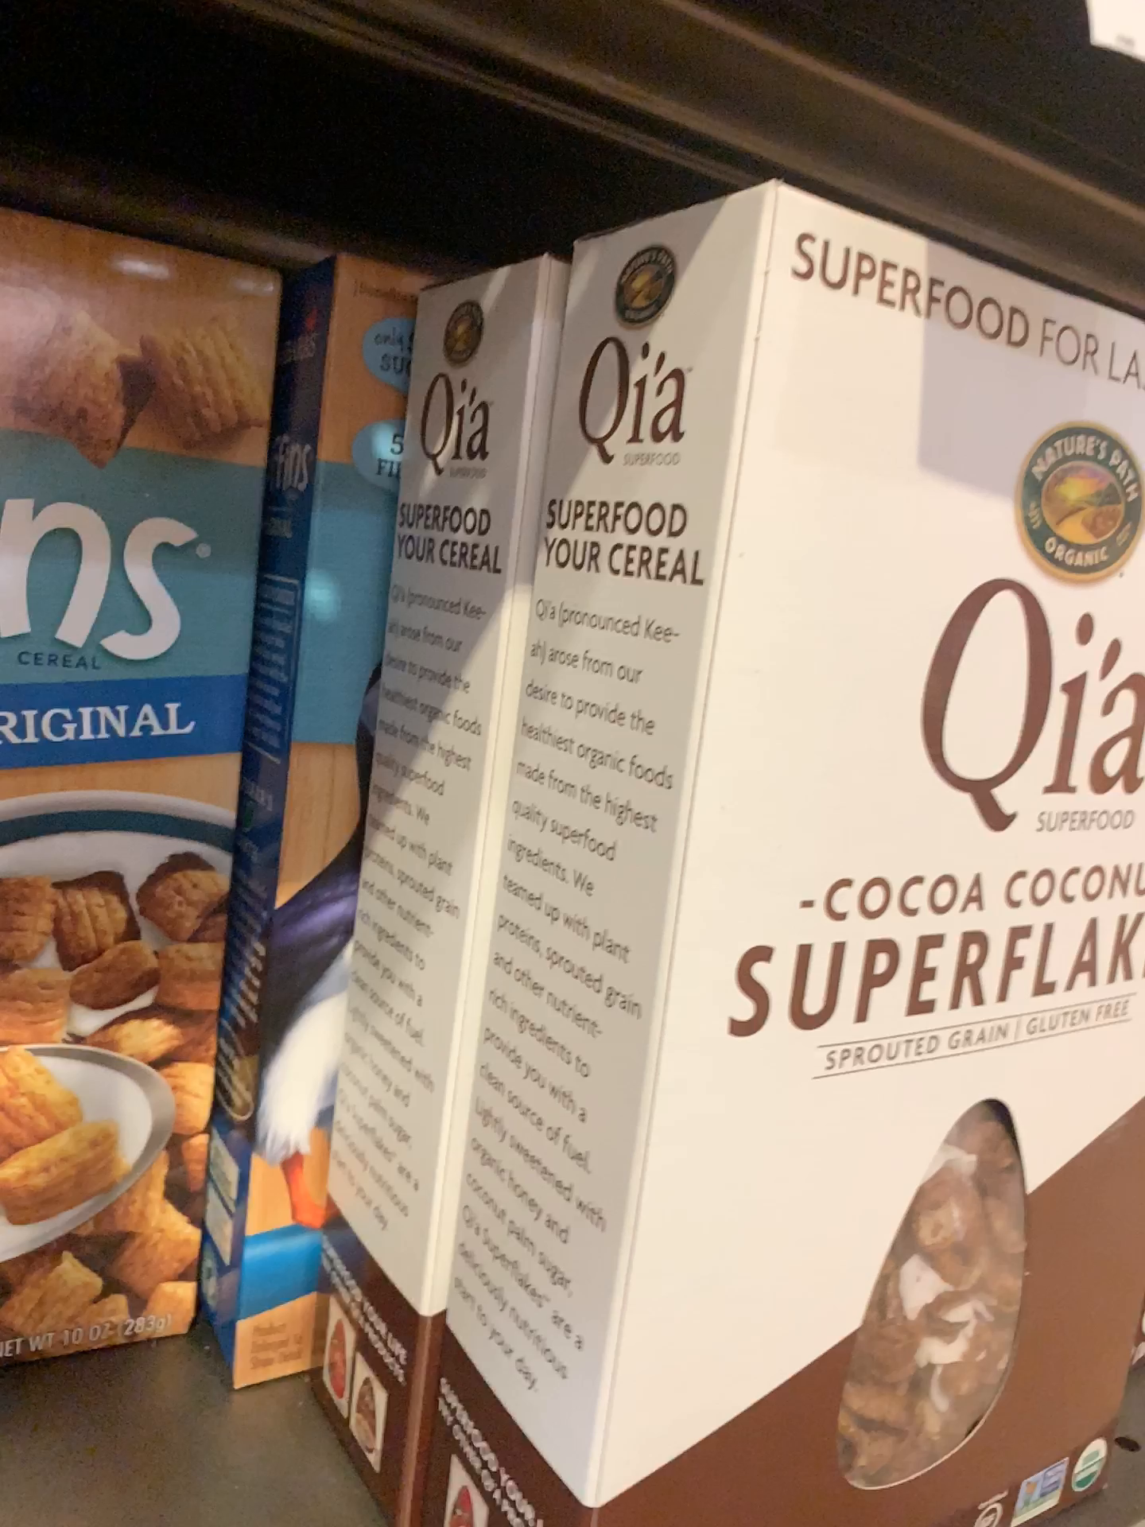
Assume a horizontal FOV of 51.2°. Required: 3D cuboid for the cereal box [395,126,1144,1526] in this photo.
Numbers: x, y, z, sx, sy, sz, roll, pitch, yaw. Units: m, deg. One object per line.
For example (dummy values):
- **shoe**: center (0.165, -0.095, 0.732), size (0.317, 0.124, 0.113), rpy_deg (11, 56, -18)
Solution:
- **cereal box**: center (0.063, 0.038, 0.246), size (0.160, 0.259, 0.060), rpy_deg (2, 10, -34)
